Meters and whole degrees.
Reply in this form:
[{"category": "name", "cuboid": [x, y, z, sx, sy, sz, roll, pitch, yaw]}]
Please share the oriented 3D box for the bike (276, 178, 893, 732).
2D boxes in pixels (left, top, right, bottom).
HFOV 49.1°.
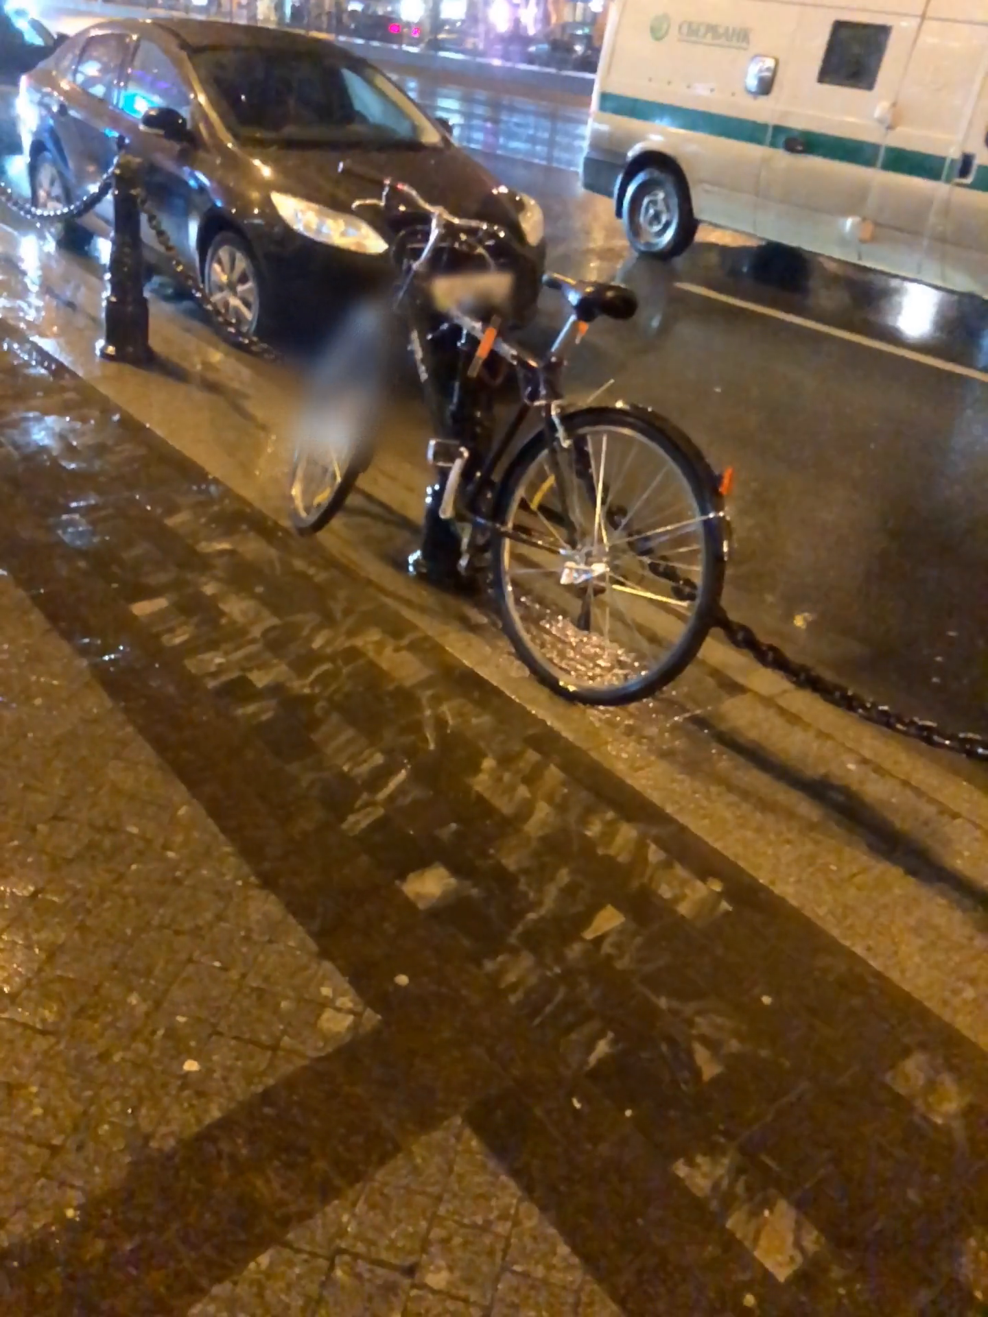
[{"category": "bike", "cuboid": [0.045, -0.678, 2.902, 0.554, 0.961, 1.753, -13, 32, -33]}]
